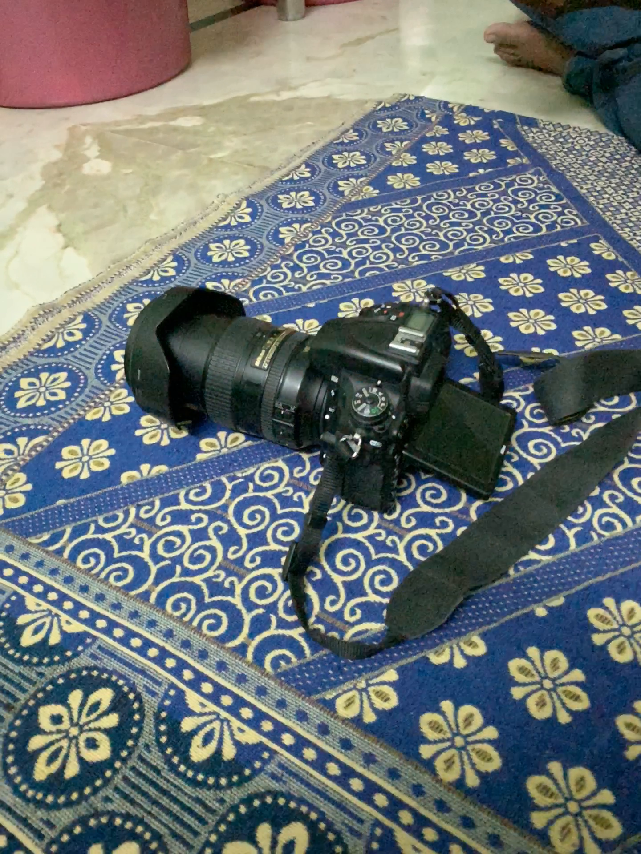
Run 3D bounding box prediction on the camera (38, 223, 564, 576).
[{"bbox_3d":[-0.011,-0.038,0.482,0.320,0.110,0.161,16,48,19],"label":"camera"}]
